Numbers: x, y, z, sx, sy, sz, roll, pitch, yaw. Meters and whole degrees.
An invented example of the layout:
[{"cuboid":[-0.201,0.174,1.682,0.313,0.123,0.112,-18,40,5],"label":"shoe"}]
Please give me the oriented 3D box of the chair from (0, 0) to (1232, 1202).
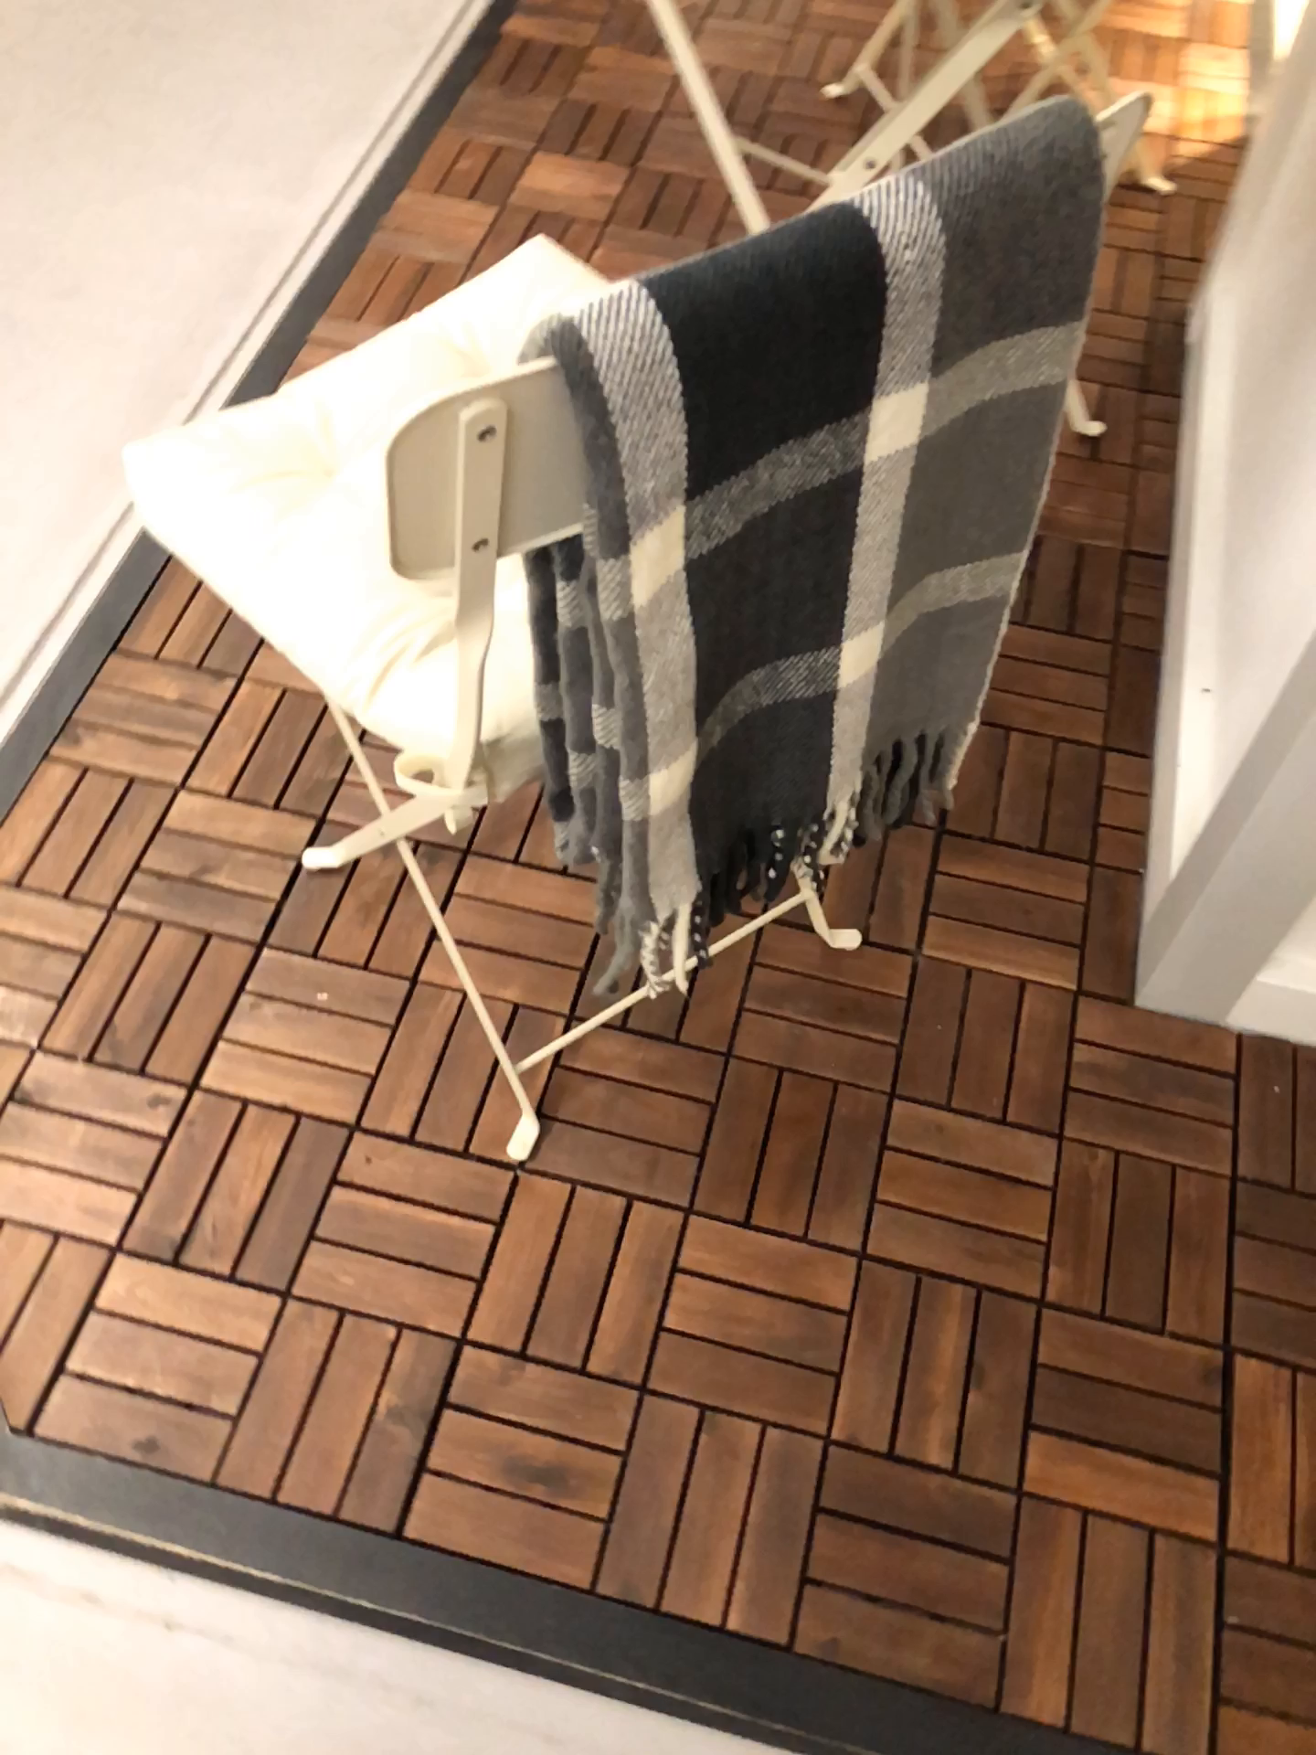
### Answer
[{"cuboid":[-0.106,-0.253,0.962,0.491,0.736,0.512,-30,62,-20],"label":"chair"}]
